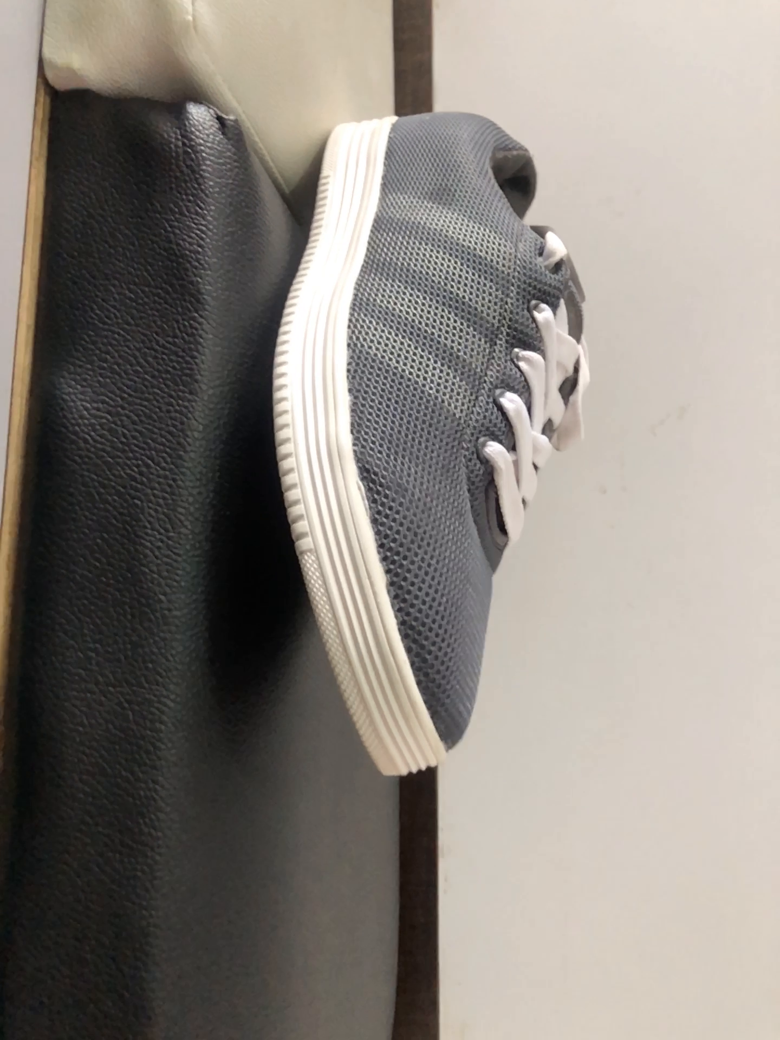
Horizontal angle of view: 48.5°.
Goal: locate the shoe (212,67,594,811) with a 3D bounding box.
[{"bbox_3d":[0.021,-0.050,0.350,0.100,0.100,0.300,76,16,-54],"label":"shoe"}]
